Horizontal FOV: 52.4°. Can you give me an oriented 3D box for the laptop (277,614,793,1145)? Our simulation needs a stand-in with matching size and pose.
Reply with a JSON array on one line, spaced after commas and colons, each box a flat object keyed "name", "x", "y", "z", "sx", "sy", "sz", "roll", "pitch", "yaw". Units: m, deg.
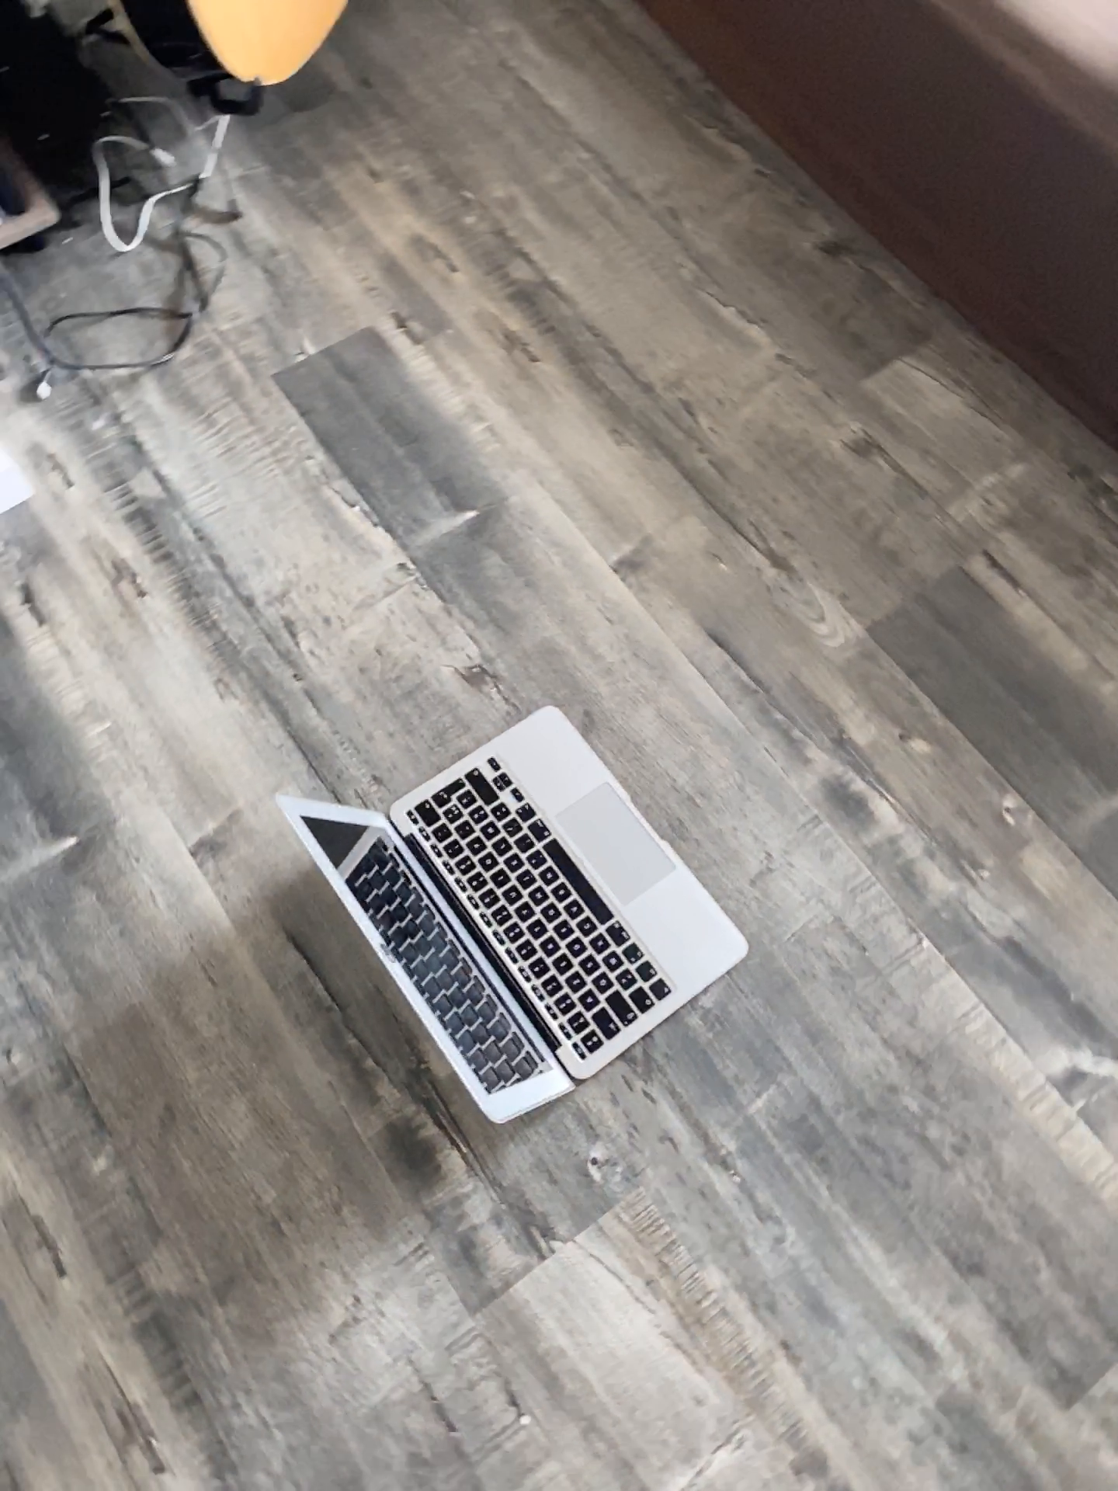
[{"name": "laptop", "x": -0.023, "y": 0.106, "z": 0.900, "sx": 0.254, "sy": 0.160, "sz": 0.290, "roll": -34, "pitch": 71, "yaw": -13}]
